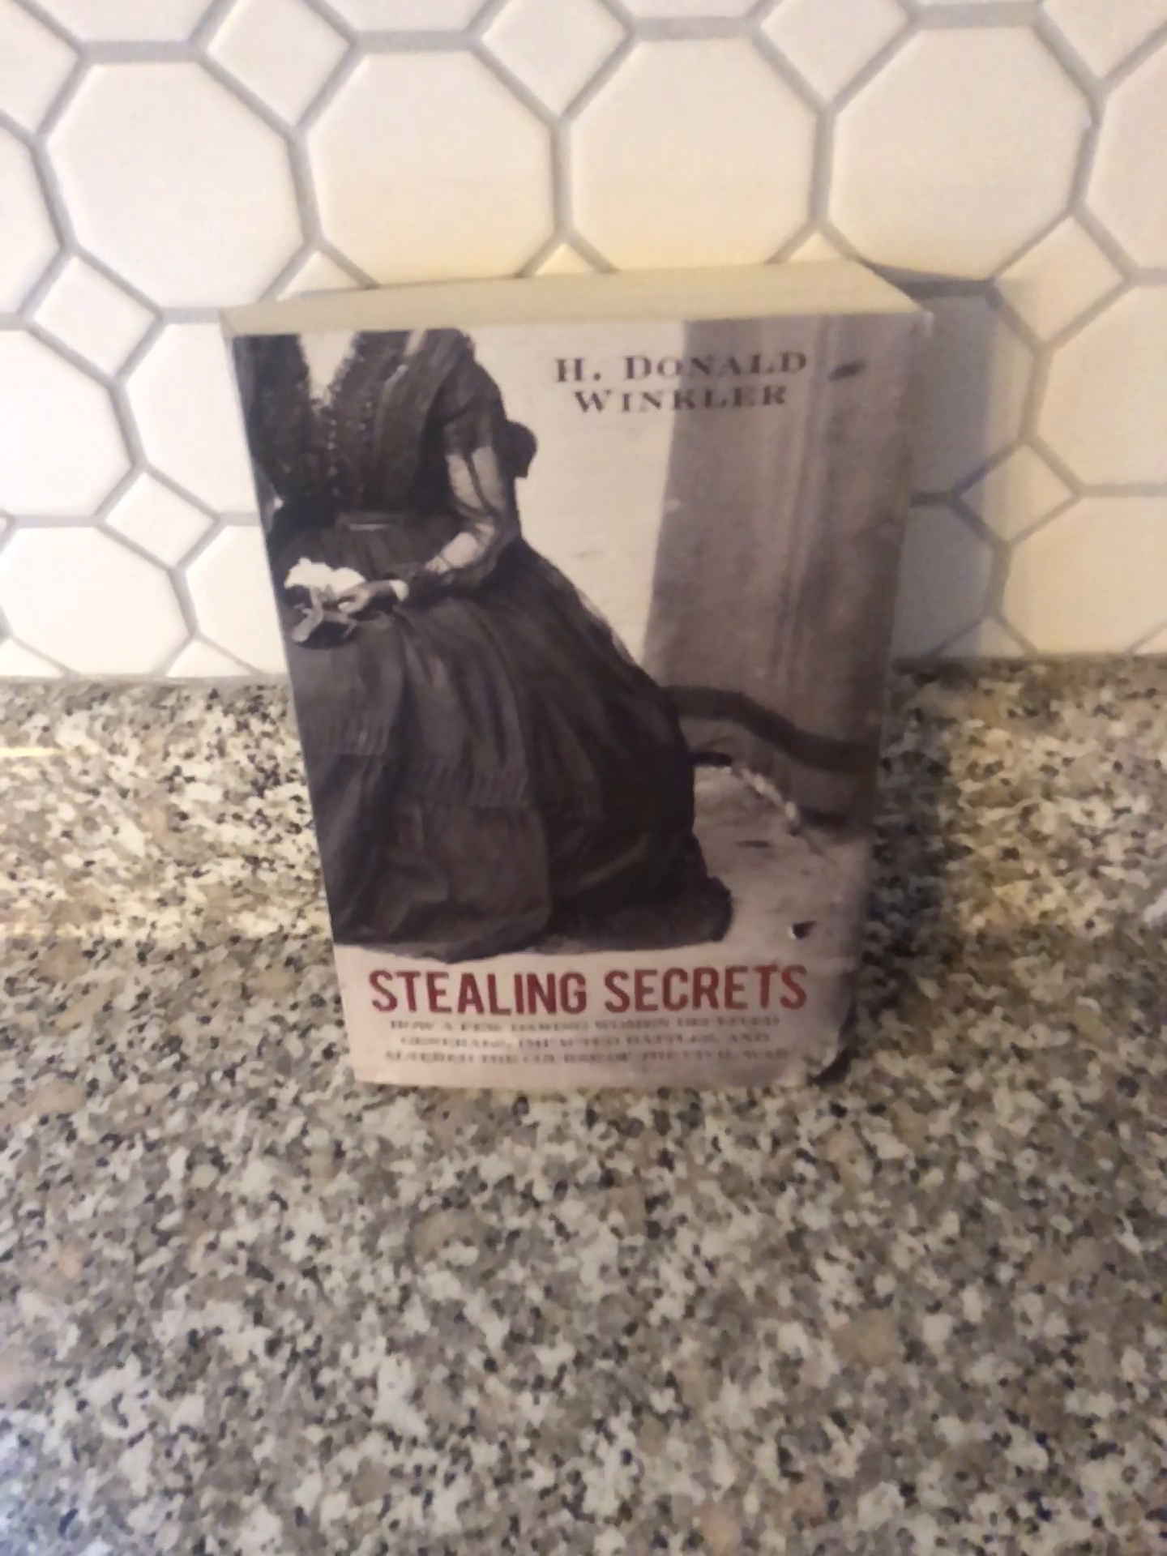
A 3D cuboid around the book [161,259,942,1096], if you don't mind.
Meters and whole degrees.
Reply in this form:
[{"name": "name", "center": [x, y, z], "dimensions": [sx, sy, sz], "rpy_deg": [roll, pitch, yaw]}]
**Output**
[{"name": "book", "center": [-0.002, -0.011, 0.343], "dimensions": [0.161, 0.225, 0.041], "rpy_deg": [-1, 32, 3]}]
